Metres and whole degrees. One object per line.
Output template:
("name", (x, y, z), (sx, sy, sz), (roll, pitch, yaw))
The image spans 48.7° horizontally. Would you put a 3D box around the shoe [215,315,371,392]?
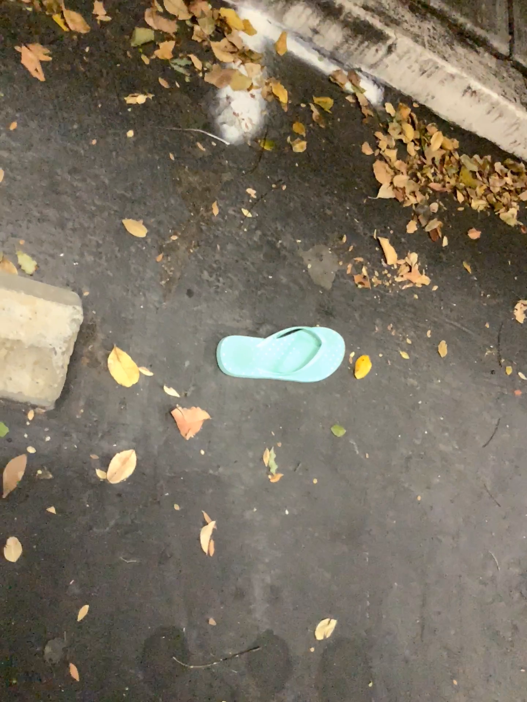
("shoe", (0.057, 0.007, 1.043), (0.280, 0.050, 0.120), (1, 72, -30))
